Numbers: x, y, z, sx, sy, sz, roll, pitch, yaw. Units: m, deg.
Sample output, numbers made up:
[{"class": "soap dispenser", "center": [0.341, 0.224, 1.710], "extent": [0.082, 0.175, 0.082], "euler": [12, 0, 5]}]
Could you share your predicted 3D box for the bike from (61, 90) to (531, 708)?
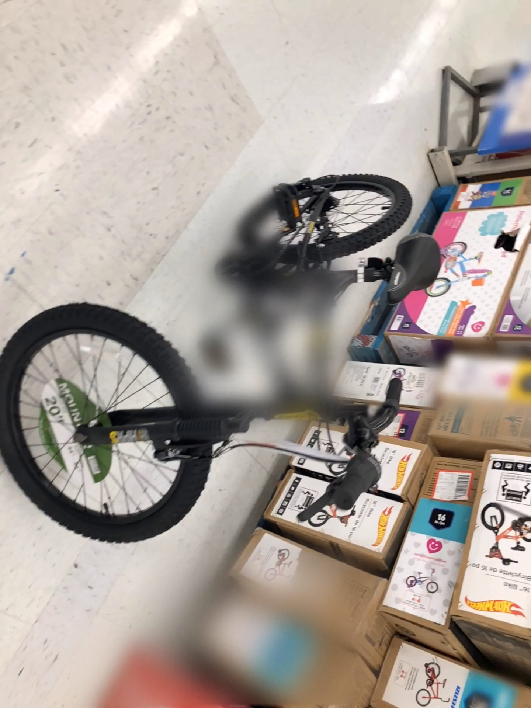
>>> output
[{"class": "bike", "center": [0.222, 0.039, 1.432], "extent": [1.261, 0.849, 0.524], "euler": [-58, 133, -32]}]
